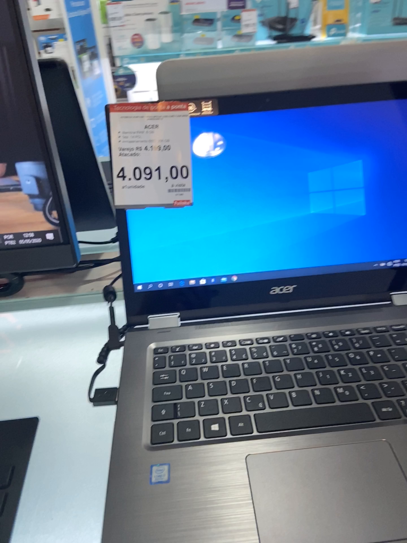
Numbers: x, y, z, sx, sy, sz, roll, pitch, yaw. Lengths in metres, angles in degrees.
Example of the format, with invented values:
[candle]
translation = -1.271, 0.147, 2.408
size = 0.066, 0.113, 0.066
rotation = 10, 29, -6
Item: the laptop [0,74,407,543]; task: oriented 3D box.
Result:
[laptop]
translation = 0.081, -0.012, 0.335
size = 0.328, 0.187, 0.358
rotation = -6, 35, -2
